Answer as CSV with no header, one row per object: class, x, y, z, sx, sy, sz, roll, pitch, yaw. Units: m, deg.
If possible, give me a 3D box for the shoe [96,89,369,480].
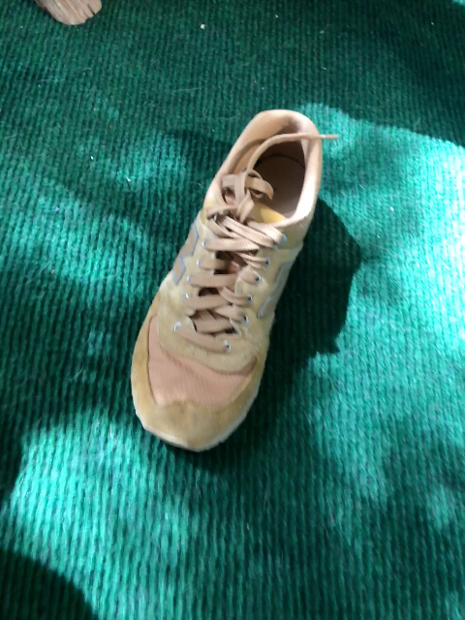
shoe,0.008,-0.022,0.384,0.110,0.100,0.261,18,68,2
